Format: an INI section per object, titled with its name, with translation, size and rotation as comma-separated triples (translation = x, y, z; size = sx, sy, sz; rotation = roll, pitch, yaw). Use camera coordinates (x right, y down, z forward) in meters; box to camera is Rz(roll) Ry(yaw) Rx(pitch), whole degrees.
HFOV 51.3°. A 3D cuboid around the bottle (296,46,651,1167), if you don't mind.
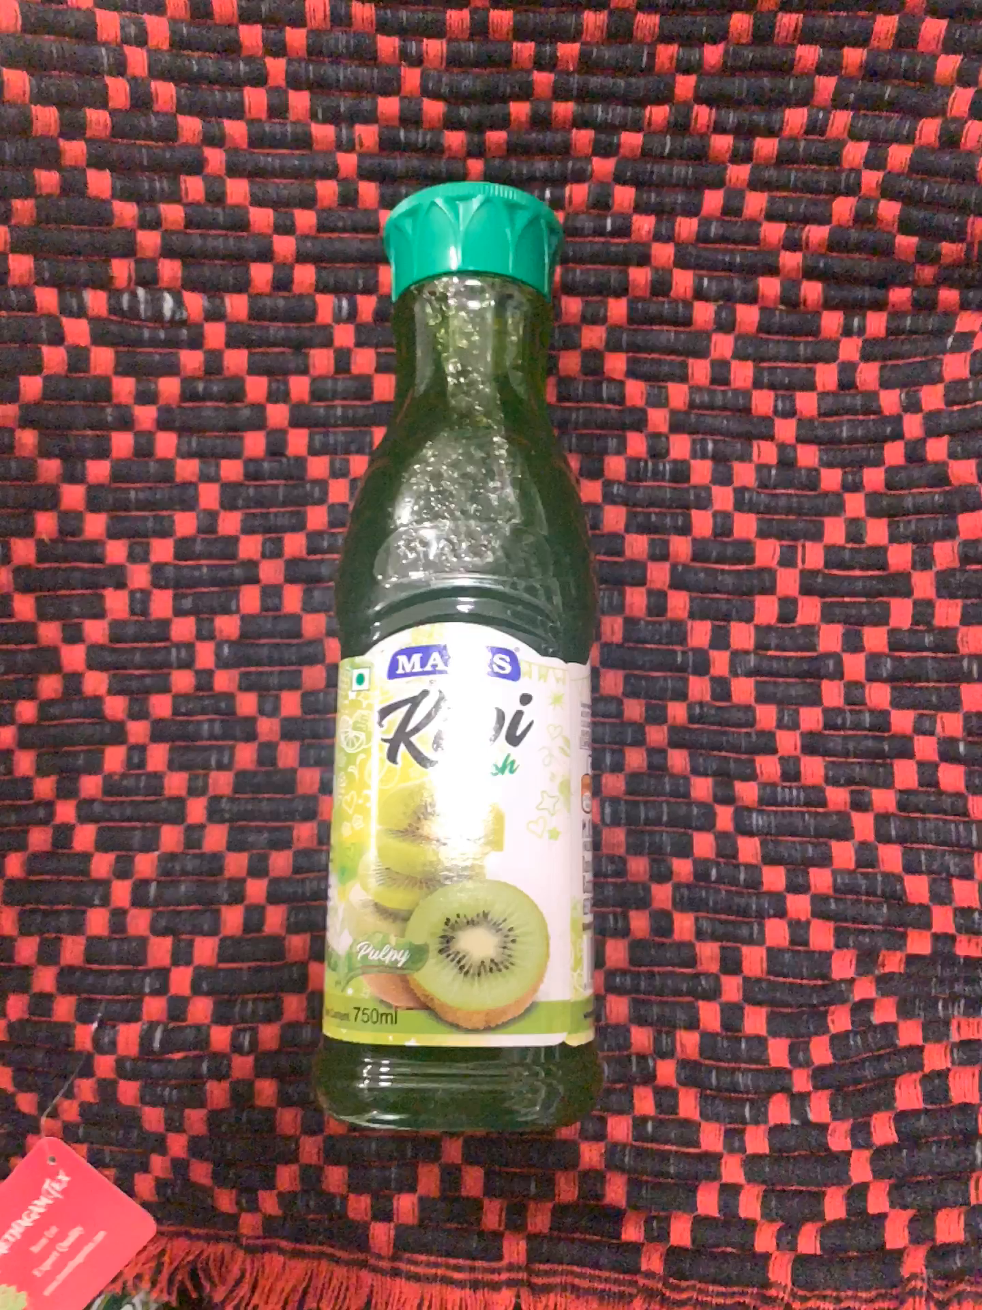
[bottle]
translation = -0.001, -0.018, 0.269
size = 0.070, 0.080, 0.260
rotation = 1, 77, 0
